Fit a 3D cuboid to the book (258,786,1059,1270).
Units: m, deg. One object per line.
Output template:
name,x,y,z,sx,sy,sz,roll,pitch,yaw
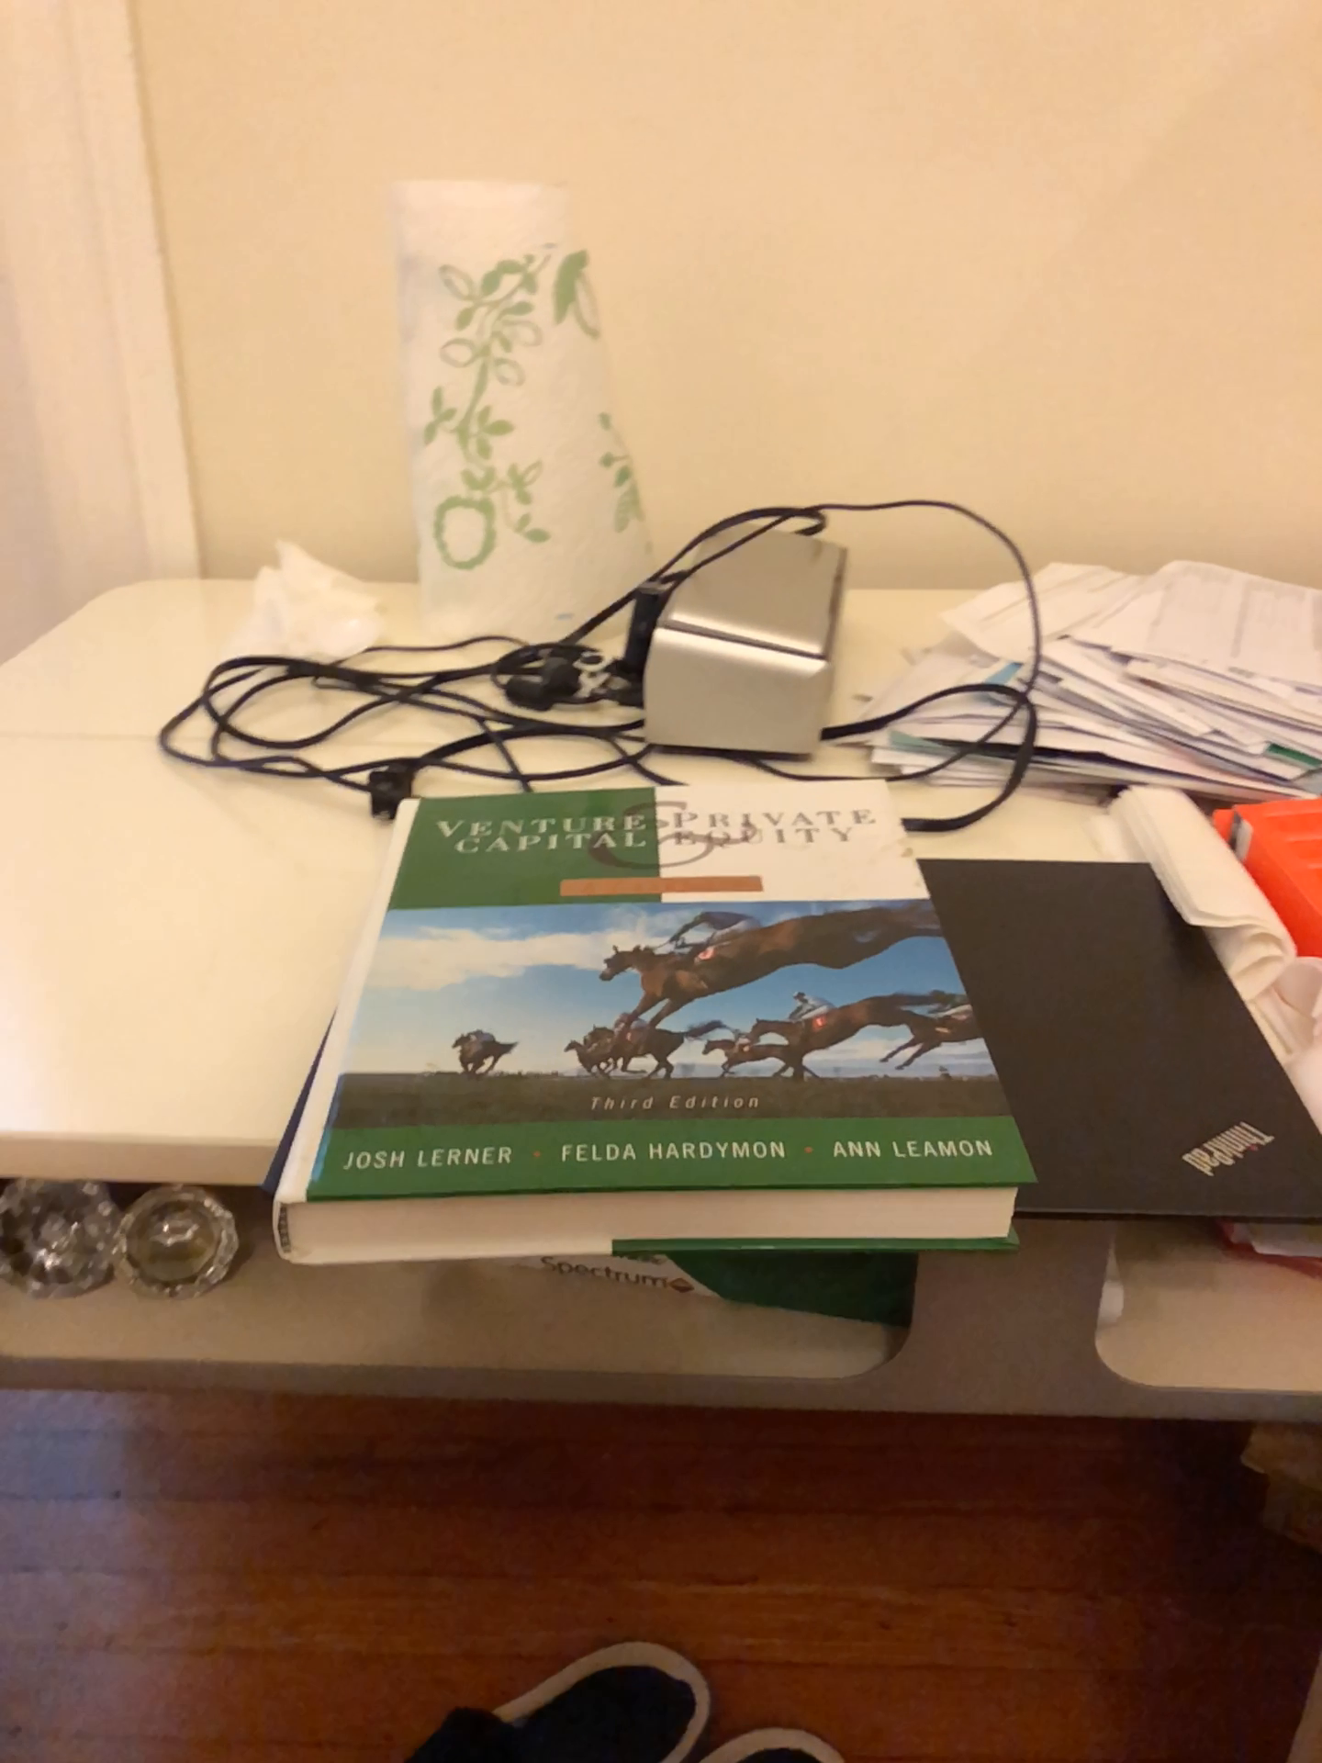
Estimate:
book,-0.004,0.034,0.528,0.220,0.030,0.272,0,27,-2
